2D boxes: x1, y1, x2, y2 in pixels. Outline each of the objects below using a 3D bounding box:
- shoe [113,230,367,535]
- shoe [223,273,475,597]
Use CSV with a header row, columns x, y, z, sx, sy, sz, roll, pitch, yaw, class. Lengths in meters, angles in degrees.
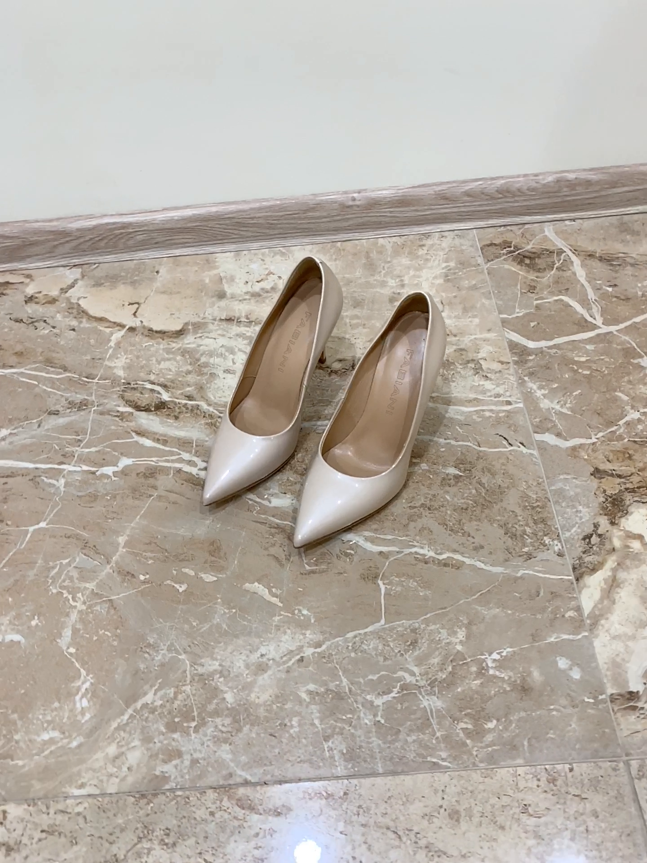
x,y,z,sx,sy,sz,roll,pitch,yaw,class
-0.058,-0.049,0.598,0.090,0.119,0.241,24,61,19,shoe
0.031,-0.003,0.558,0.090,0.110,0.241,24,61,19,shoe
